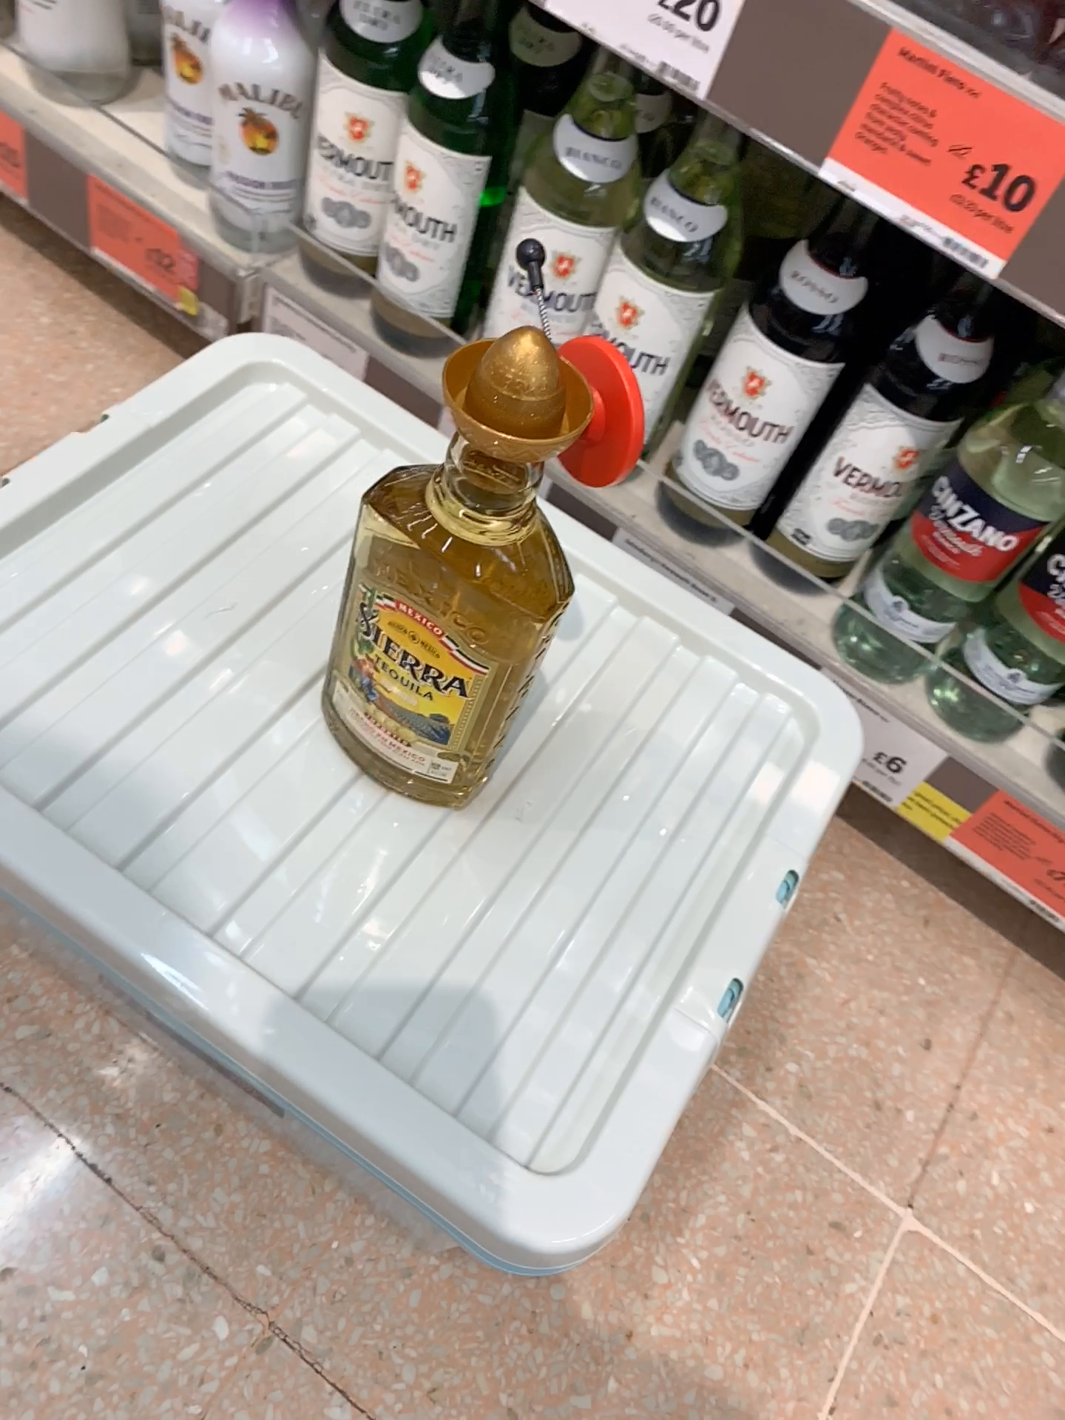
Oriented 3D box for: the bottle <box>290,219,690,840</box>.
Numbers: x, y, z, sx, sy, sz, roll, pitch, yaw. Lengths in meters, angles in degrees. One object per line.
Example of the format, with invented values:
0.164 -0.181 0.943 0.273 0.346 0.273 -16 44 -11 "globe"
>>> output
-0.035 -0.053 0.457 0.100 0.258 0.058 35 54 8 "bottle"
